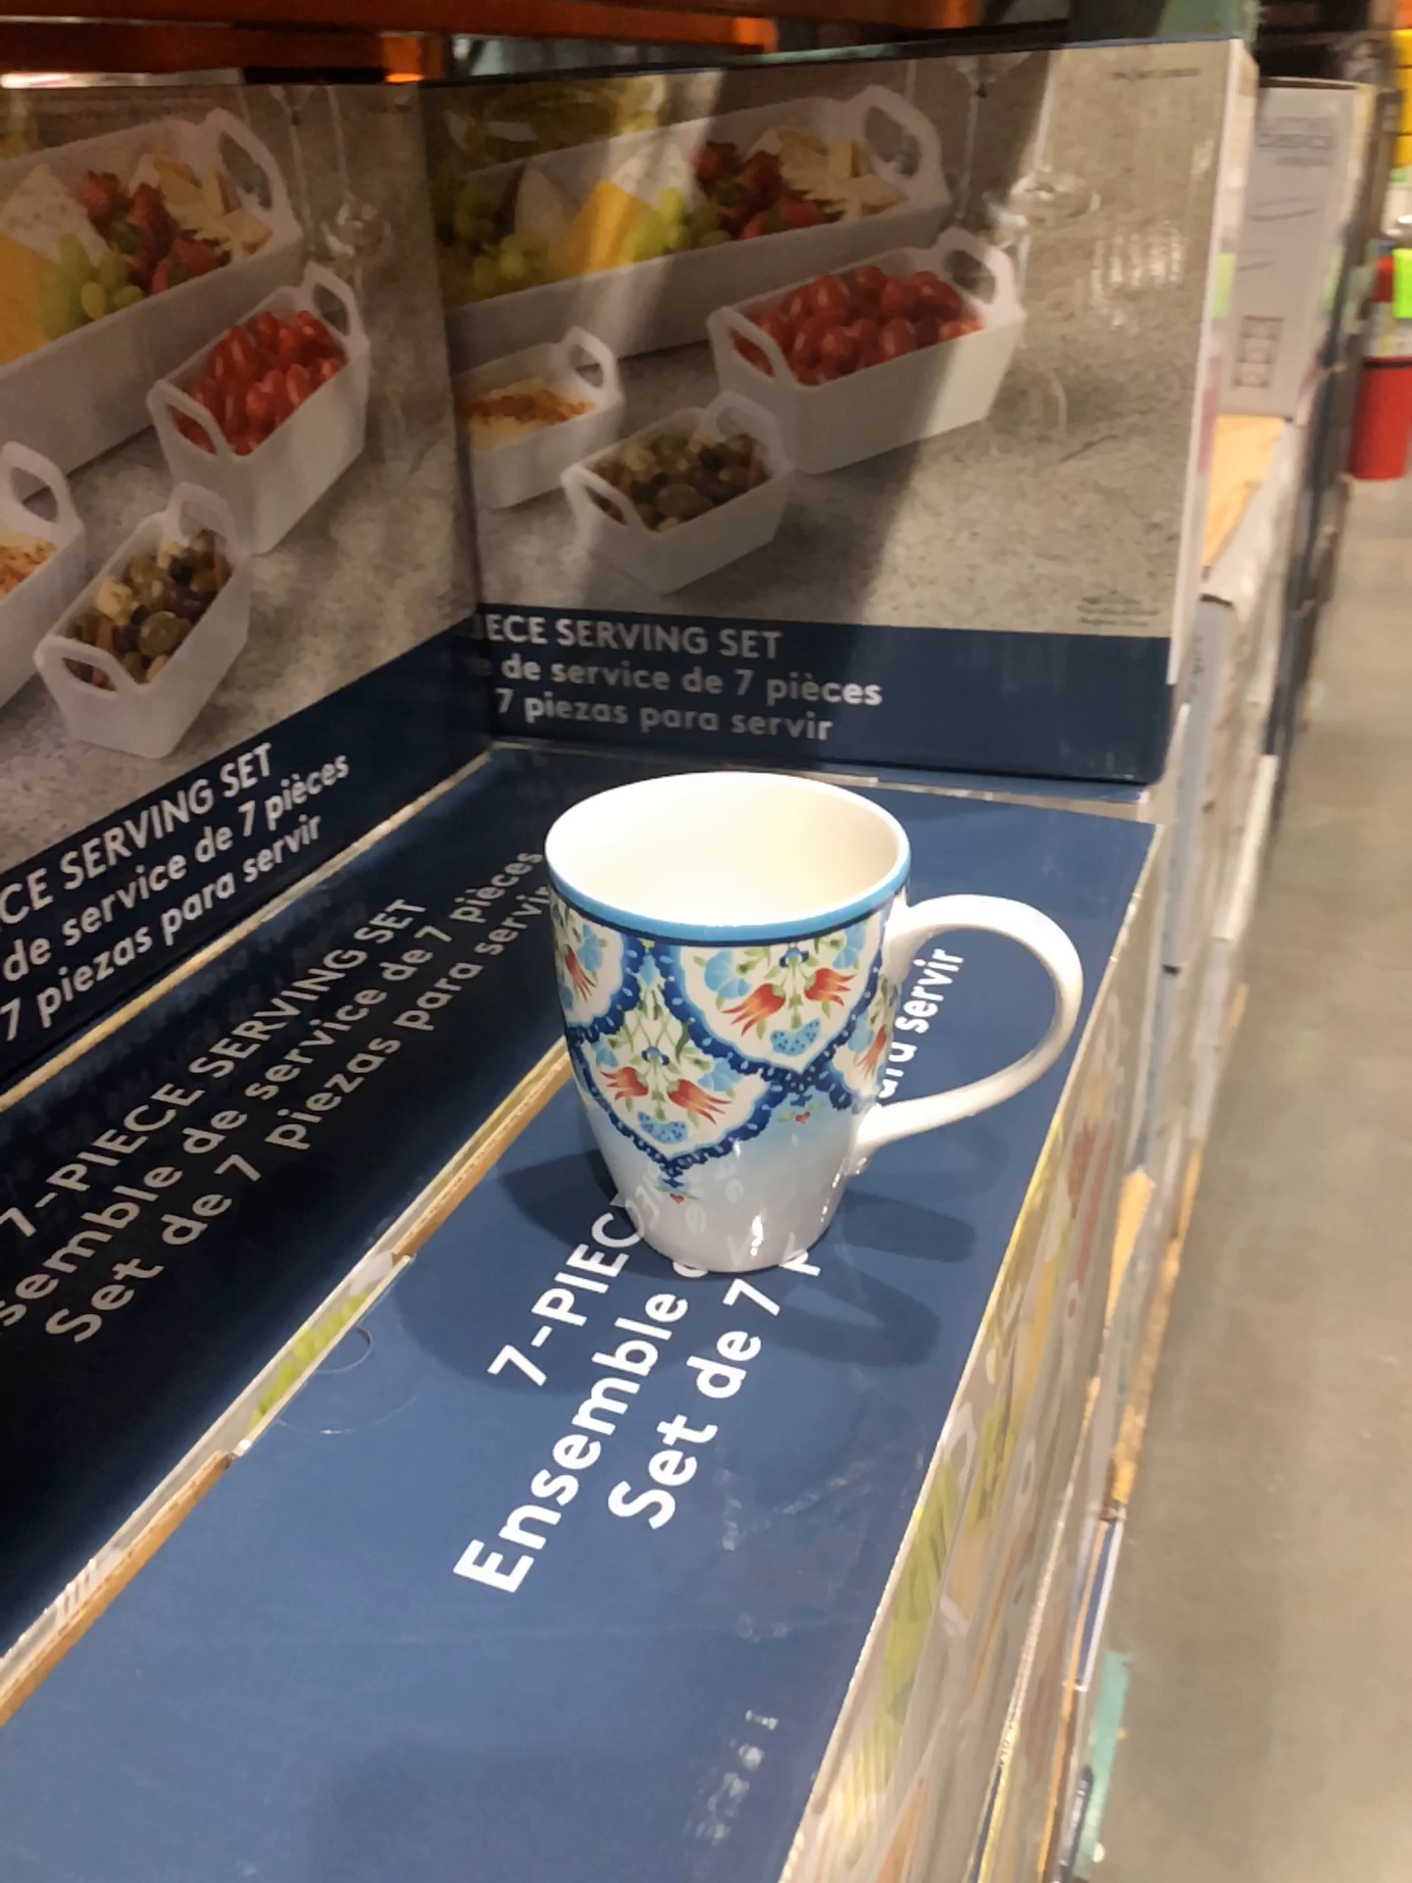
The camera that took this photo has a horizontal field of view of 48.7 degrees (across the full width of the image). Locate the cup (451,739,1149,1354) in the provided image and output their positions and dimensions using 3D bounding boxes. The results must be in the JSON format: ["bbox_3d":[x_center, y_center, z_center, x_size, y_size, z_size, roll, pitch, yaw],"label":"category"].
[{"bbox_3d":[0.027,0.018,0.373,0.136,0.096,0.090,7,29,20],"label":"cup"}]
